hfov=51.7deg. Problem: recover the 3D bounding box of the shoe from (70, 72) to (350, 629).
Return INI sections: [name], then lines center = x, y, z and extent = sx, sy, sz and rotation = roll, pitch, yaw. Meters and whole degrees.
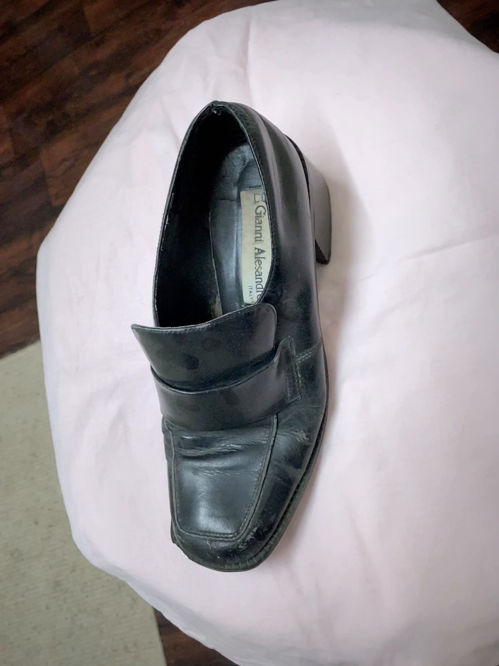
[shoe]
center = -0.011, 0.003, 0.280
extent = 0.090, 0.092, 0.240
rotation = 5, 83, 21
